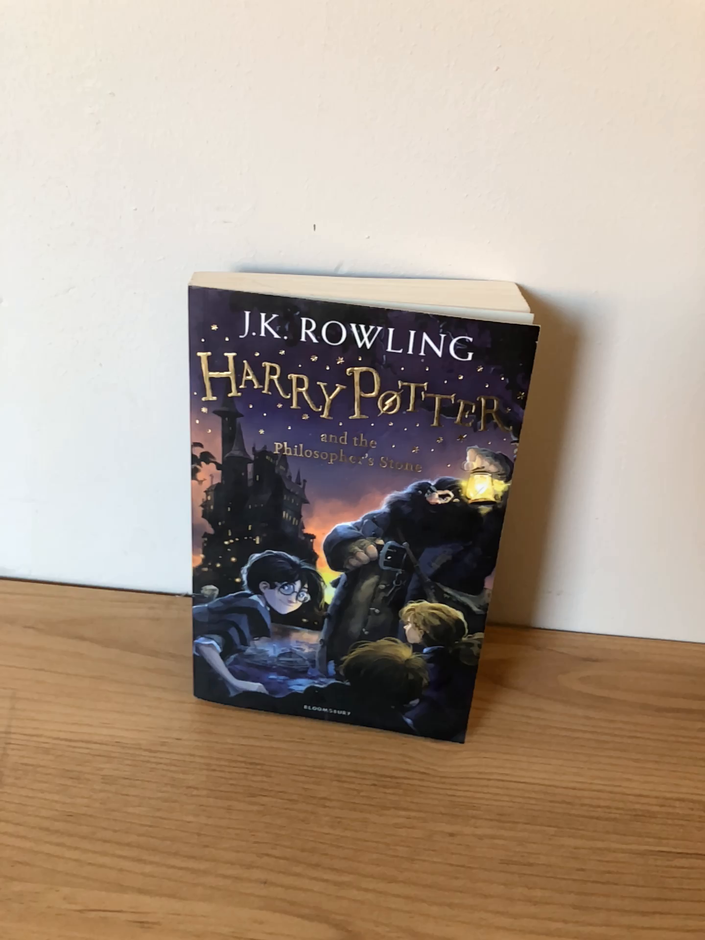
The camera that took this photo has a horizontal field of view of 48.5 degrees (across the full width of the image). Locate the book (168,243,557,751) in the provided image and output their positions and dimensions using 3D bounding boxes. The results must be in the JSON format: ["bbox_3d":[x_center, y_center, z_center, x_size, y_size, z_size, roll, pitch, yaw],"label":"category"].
[{"bbox_3d":[-0.003,0.013,0.340,0.135,0.192,0.068,8,24,4],"label":"book"}]
